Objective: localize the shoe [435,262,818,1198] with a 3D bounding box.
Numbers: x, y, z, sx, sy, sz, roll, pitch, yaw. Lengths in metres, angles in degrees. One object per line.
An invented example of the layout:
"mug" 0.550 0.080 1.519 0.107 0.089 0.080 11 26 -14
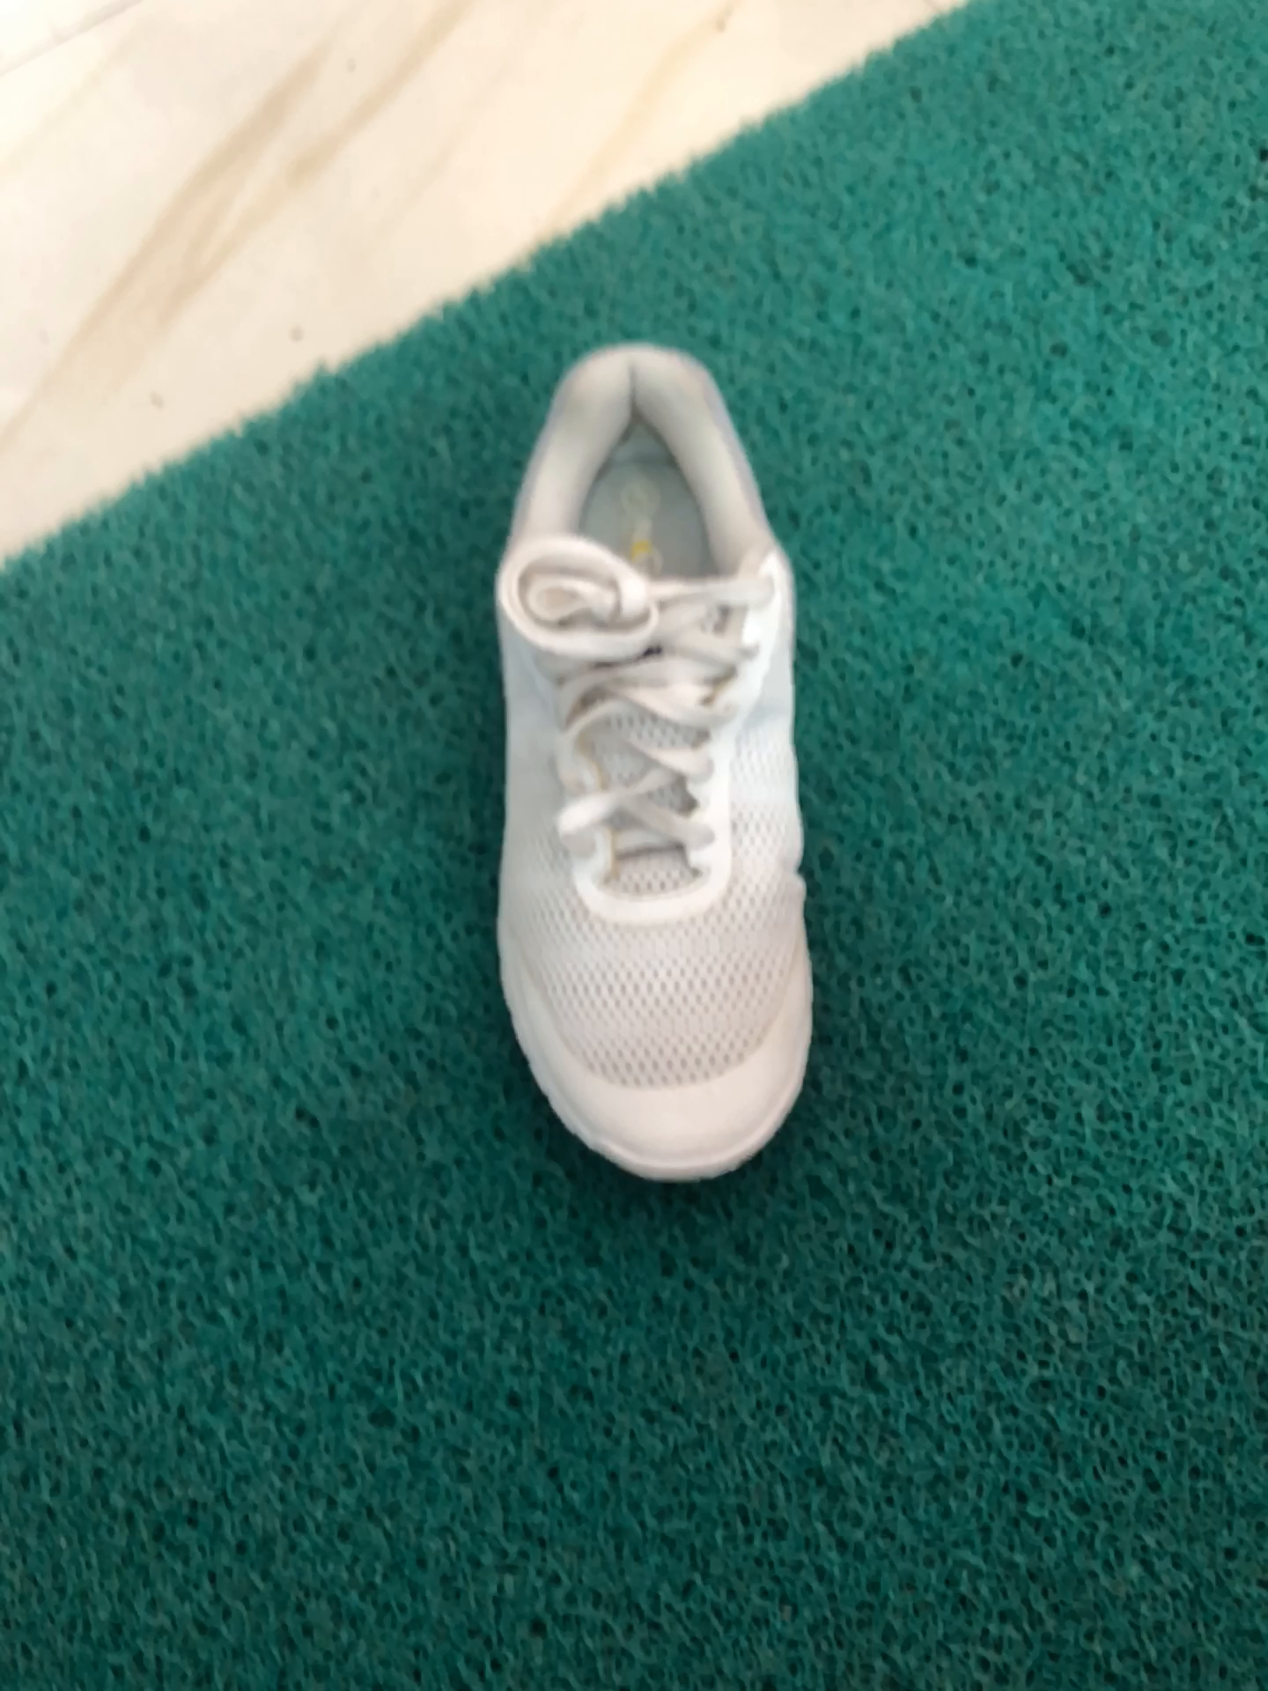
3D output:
"shoe" 0.004 -0.039 0.467 0.100 0.100 0.290 -1 69 5
